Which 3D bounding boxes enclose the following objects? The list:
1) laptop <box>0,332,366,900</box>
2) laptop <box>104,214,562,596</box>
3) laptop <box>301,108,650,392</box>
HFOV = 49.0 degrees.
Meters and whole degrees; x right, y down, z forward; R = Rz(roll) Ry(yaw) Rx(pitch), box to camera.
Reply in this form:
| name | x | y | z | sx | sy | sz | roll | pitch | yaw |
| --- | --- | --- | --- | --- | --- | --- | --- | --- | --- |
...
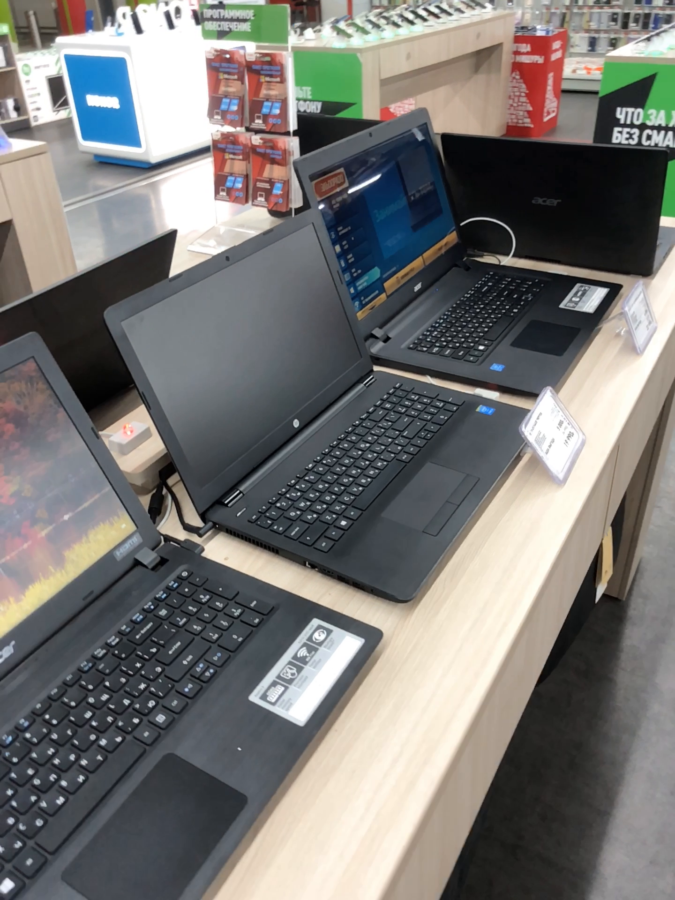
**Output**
| name | x | y | z | sx | sy | sz | roll | pitch | yaw |
| --- | --- | --- | --- | --- | --- | --- | --- | --- | --- |
| laptop | -0.207 | 0.116 | 0.552 | 0.350 | 0.226 | 0.360 | 15 | 37 | 27 |
| laptop | 0.019 | -0.089 | 0.850 | 0.334 | 0.215 | 0.378 | 17 | 39 | 26 |
| laptop | 0.218 | -0.345 | 1.162 | 0.395 | 0.267 | 0.398 | 17 | 39 | 28 |
